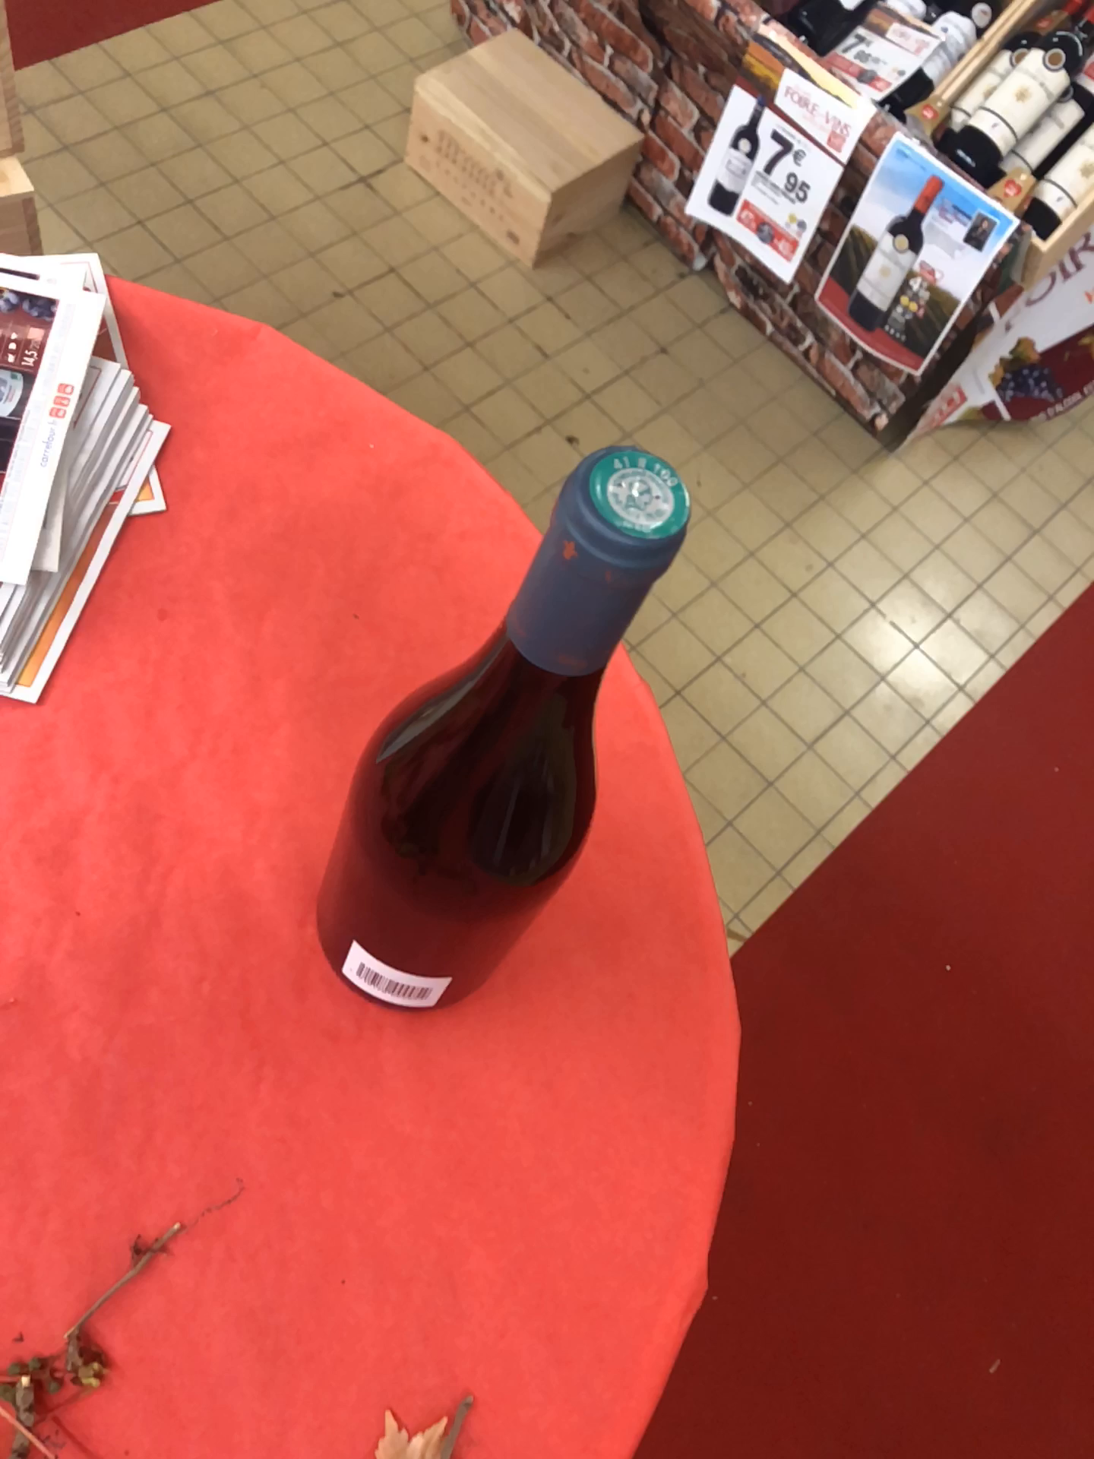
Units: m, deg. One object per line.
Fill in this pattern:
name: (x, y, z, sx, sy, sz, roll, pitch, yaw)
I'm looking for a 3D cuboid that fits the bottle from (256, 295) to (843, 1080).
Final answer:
bottle: (-0.024, 0.021, 0.374, 0.090, 0.289, 0.090, 6, 63, -12)
